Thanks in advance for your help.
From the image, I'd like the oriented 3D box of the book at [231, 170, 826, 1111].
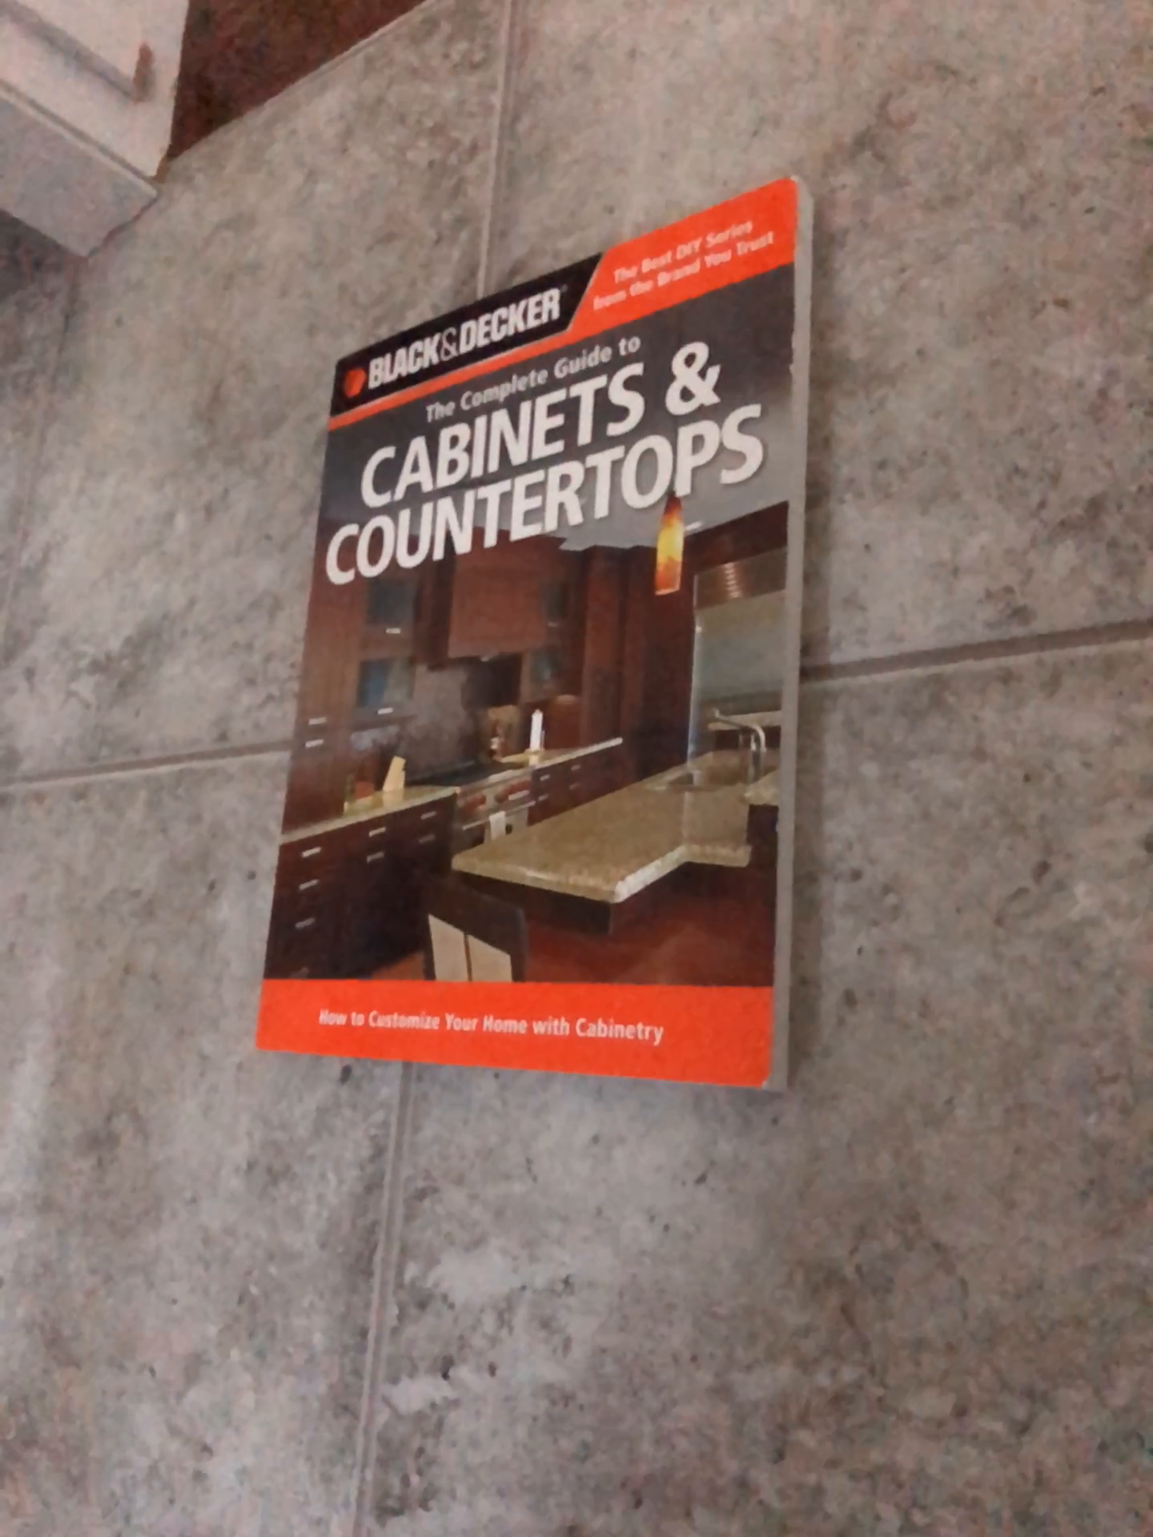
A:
[{"bbox_3d":[-0.022,-0.037,0.439,0.216,0.022,0.281,-6,73,38],"label":"book"}]
